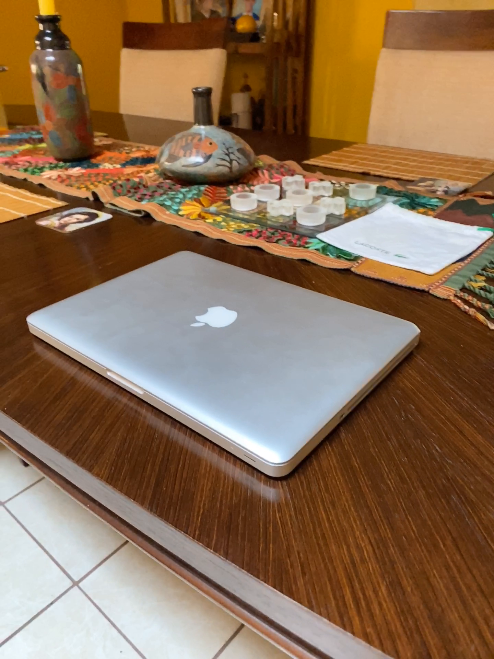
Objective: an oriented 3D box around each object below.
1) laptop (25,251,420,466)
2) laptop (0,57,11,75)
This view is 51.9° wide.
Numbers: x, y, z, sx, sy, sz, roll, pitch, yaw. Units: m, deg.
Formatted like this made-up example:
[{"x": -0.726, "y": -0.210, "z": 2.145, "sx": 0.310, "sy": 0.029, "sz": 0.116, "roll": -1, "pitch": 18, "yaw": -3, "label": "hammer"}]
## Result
[{"x": -0.030, "y": -0.006, "z": 0.509, "sx": 0.324, "sy": 0.002, "sz": 0.232, "roll": 22, "pitch": 38, "yaw": 34, "label": "laptop"}, {"x": -0.871, "y": -0.774, "z": 1.486, "sx": 0.309, "sy": 0.011, "sz": 0.215, "roll": 27, "pitch": 43, "yaw": 37, "label": "laptop"}]
